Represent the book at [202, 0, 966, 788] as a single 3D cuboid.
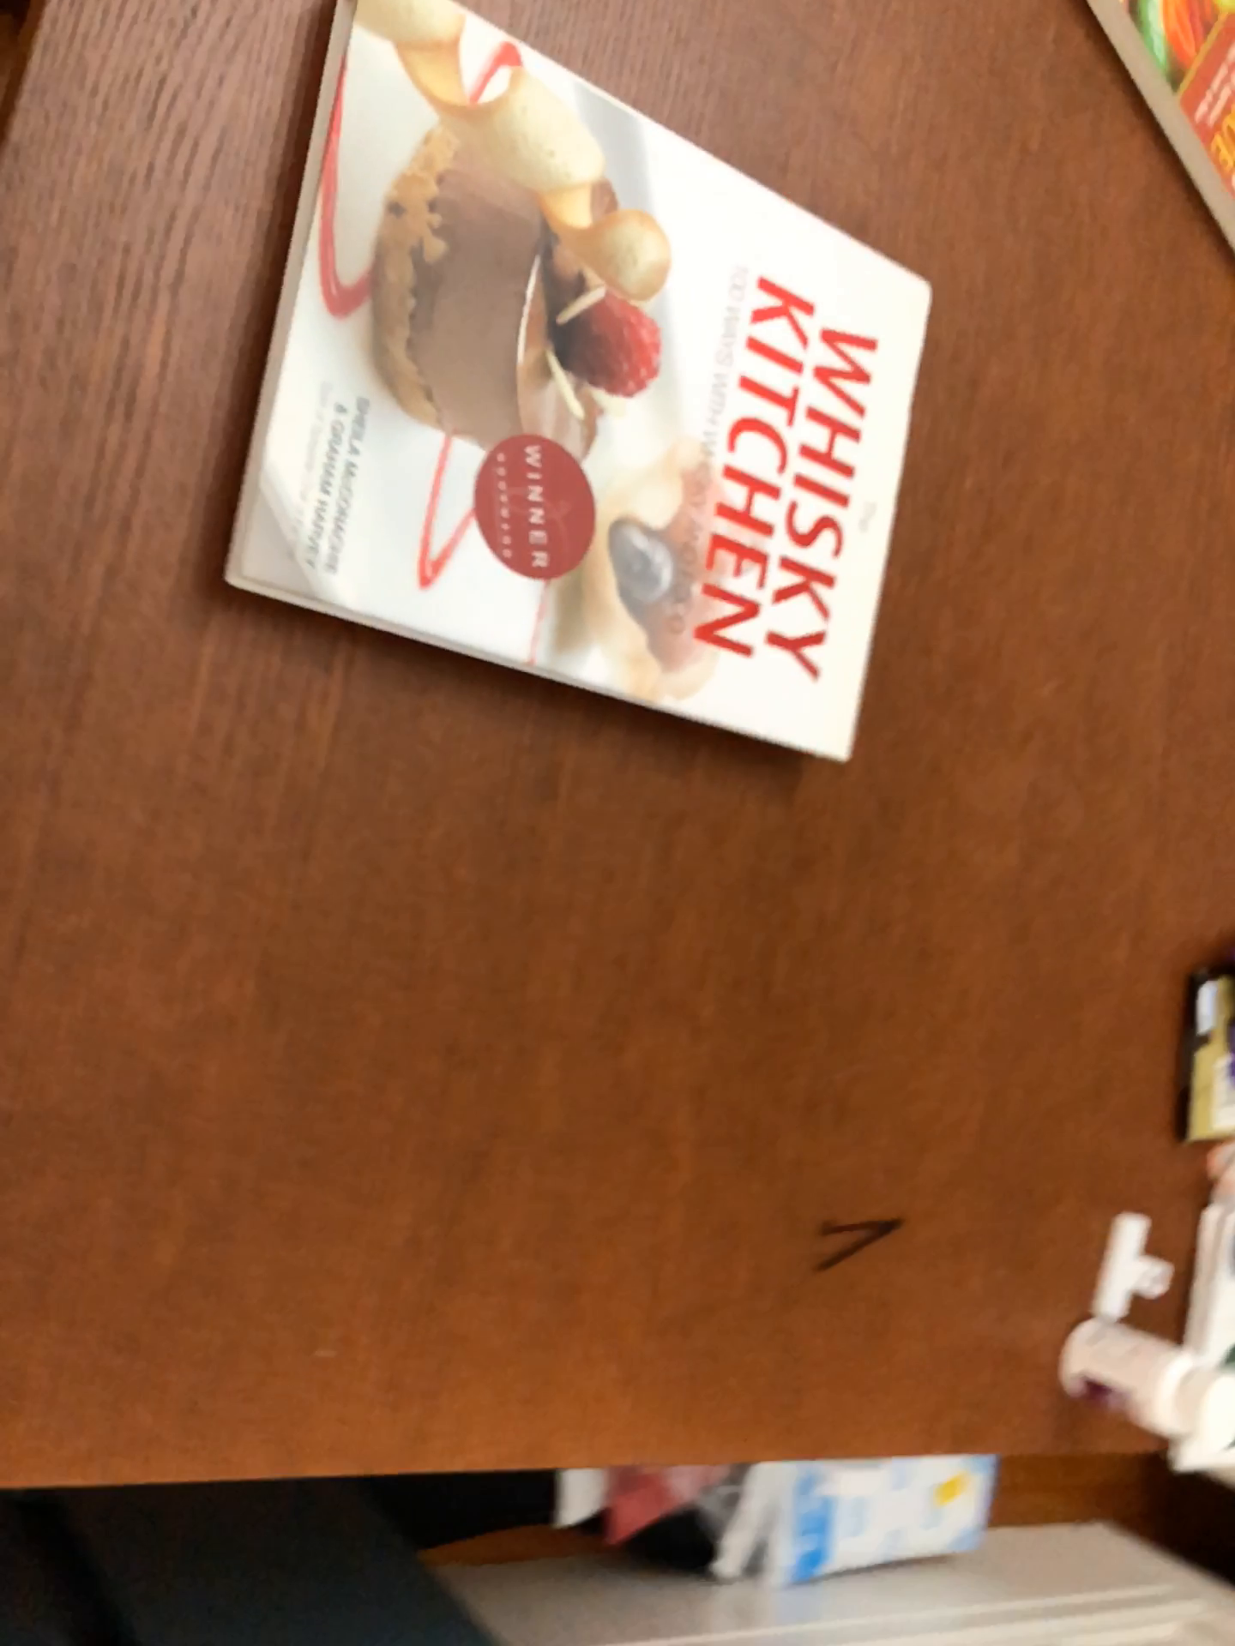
[{"bbox_3d":[0.006,-0.148,0.510,0.271,0.040,0.220,13,84,-33],"label":"book"}]
